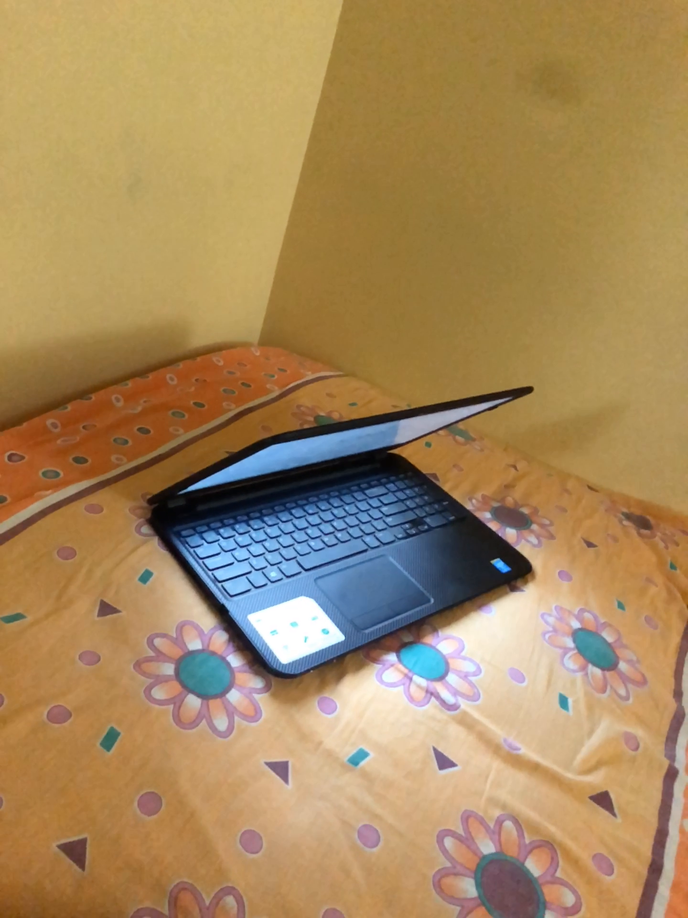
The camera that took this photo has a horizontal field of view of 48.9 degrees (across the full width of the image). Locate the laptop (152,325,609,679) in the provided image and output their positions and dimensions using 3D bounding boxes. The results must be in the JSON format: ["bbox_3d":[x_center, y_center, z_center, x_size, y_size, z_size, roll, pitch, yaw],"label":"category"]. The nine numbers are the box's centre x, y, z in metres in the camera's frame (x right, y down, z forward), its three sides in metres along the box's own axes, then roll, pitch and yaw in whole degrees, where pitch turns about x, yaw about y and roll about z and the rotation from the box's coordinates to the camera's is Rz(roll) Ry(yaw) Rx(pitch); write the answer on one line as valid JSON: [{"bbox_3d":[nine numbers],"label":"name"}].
[{"bbox_3d":[0.039,0.013,0.784,0.367,0.190,0.238,-13,43,-40],"label":"laptop"}]
